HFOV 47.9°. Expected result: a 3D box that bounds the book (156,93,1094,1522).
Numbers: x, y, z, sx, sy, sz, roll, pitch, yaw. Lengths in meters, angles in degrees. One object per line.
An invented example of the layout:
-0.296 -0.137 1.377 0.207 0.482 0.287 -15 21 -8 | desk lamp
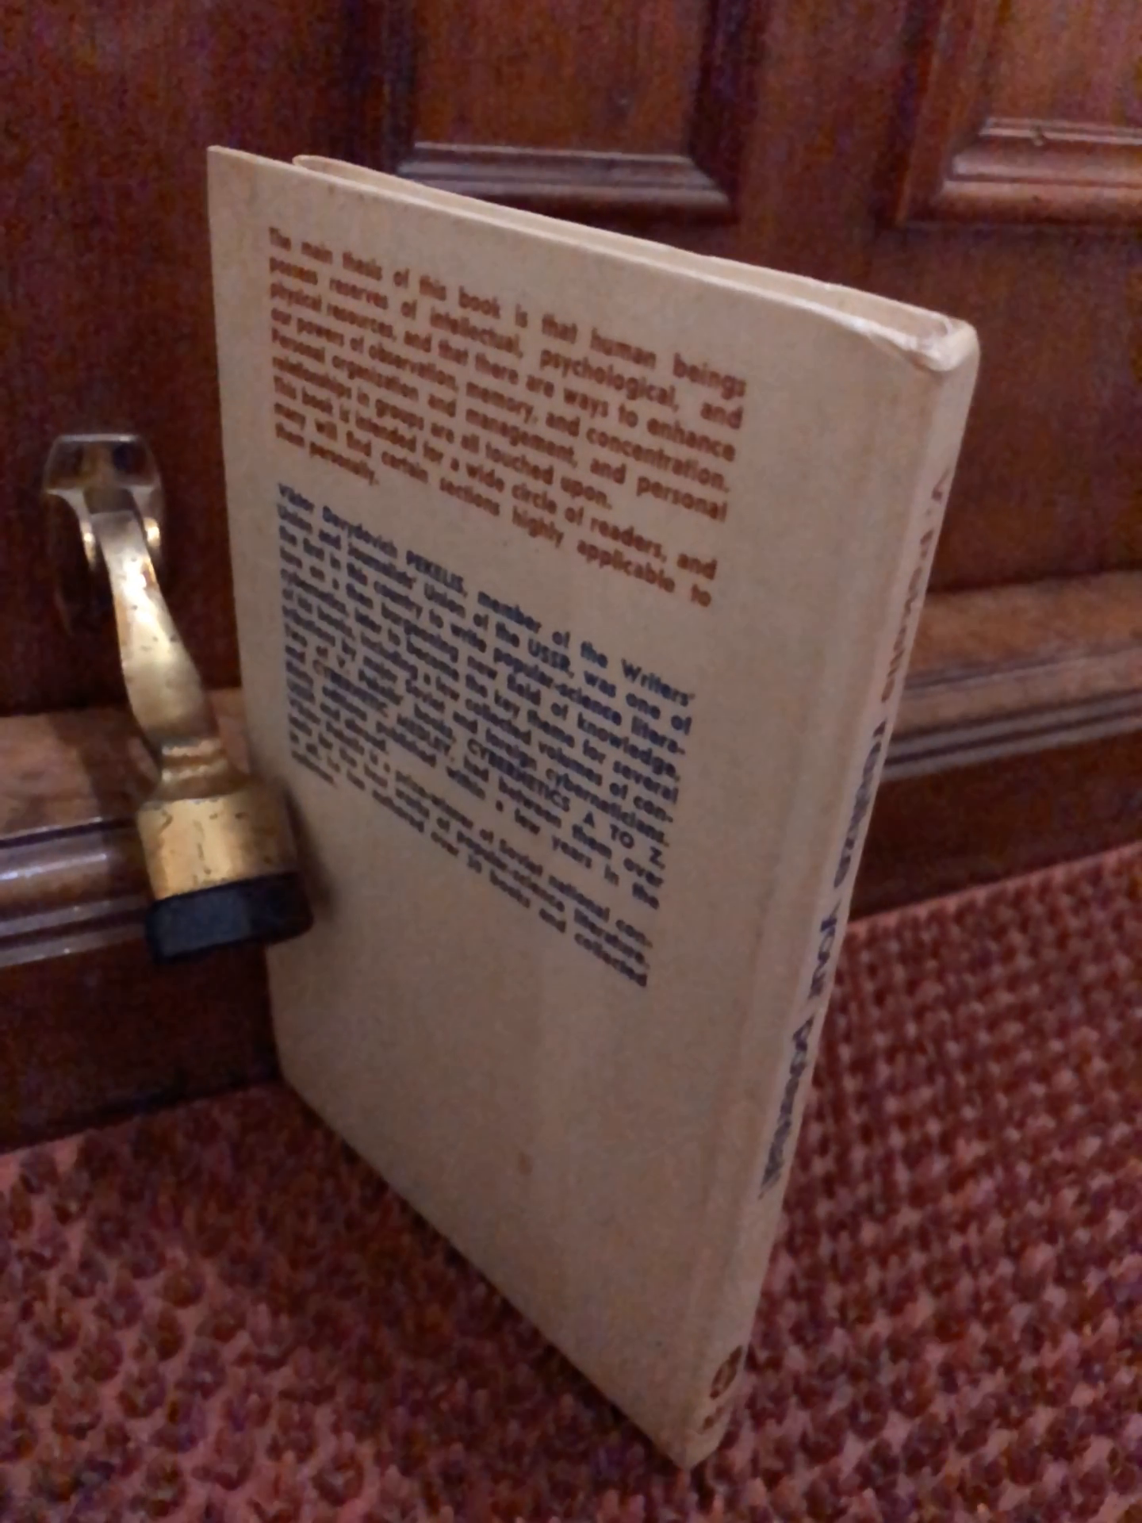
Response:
-0.015 0.010 0.227 0.030 0.209 0.150 -22 42 -36 | book
